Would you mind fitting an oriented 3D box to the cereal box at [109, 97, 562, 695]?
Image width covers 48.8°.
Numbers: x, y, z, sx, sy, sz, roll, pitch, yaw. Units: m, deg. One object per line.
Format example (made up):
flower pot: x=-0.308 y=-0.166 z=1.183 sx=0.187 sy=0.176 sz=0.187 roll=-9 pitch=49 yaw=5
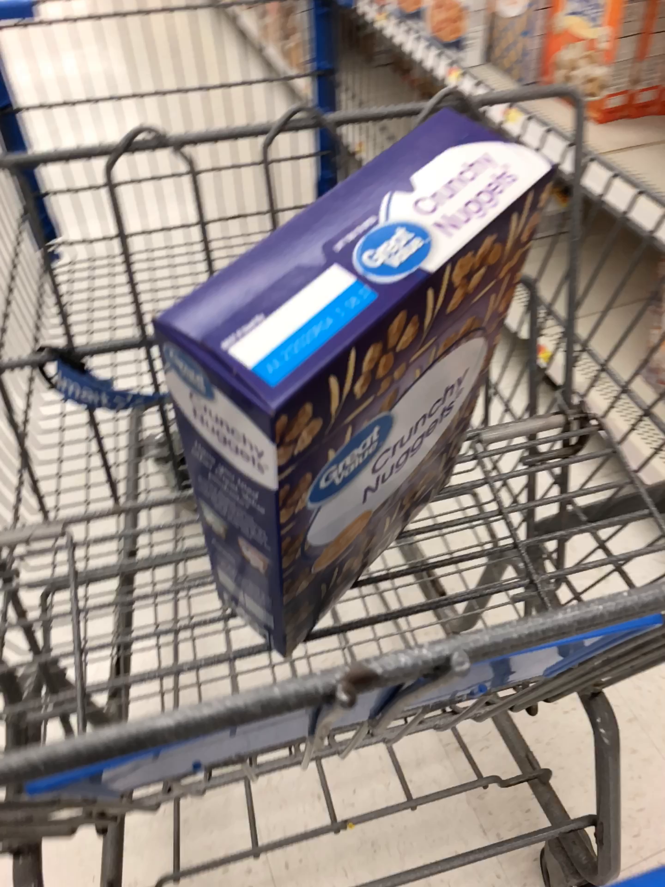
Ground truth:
cereal box: x=0.005 y=-0.004 z=0.346 sx=0.060 sy=0.240 sz=0.170 roll=35 pitch=59 yaw=20
